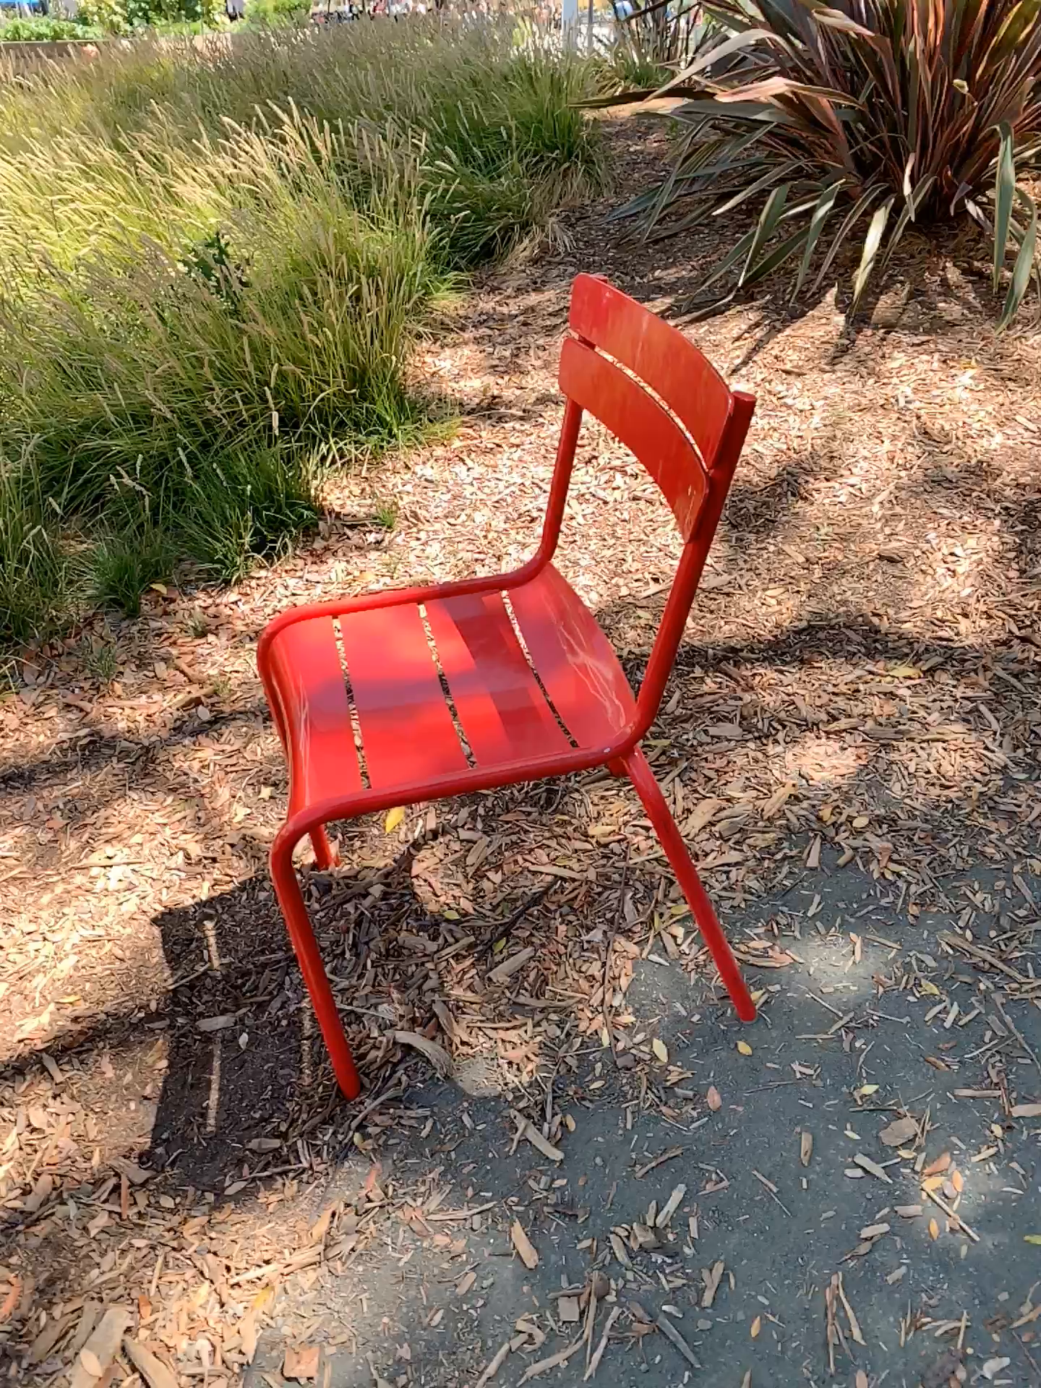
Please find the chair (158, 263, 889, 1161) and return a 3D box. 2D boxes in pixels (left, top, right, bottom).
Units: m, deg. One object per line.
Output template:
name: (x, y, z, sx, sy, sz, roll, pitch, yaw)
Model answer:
chair: (-0.051, -0.019, 1.263, 0.570, 0.785, 0.614, -8, 34, -12)
